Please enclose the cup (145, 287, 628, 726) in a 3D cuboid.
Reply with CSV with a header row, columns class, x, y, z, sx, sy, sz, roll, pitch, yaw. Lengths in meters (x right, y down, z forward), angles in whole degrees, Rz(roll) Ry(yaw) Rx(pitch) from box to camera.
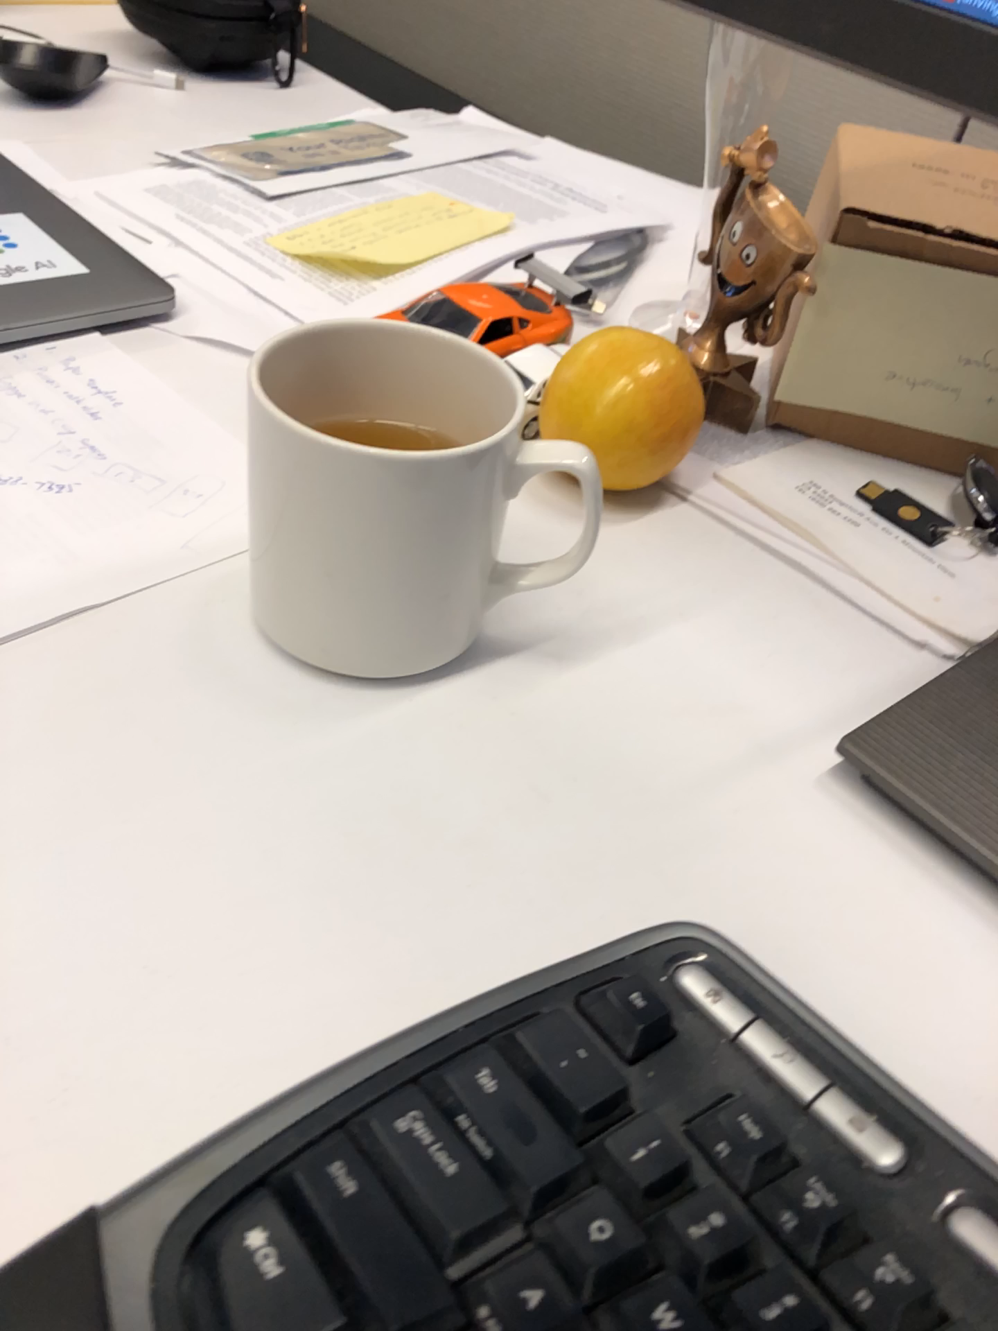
class,x,y,z,sx,sy,sz,roll,pitch,yaw
cup,-0.030,-0.048,0.329,0.120,0.080,0.080,10,40,-1
